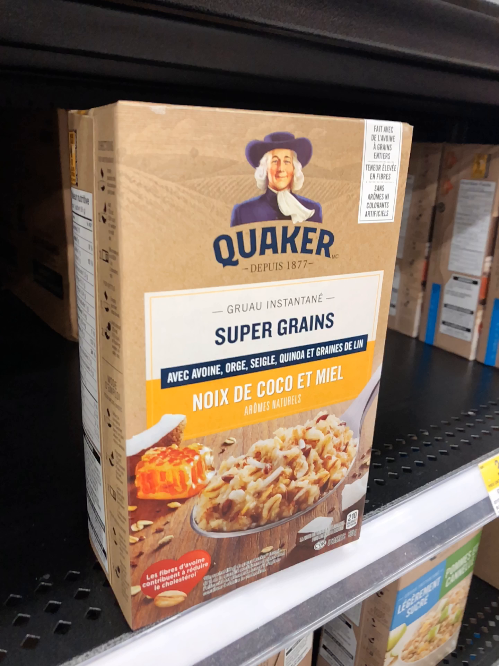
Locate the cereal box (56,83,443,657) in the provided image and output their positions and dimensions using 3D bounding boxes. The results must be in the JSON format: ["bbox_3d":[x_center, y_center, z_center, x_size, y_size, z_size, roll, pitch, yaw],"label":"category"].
[{"bbox_3d":[-0.002,0.010,0.236,0.130,0.199,0.060,-9,22,-31],"label":"cereal box"}]
